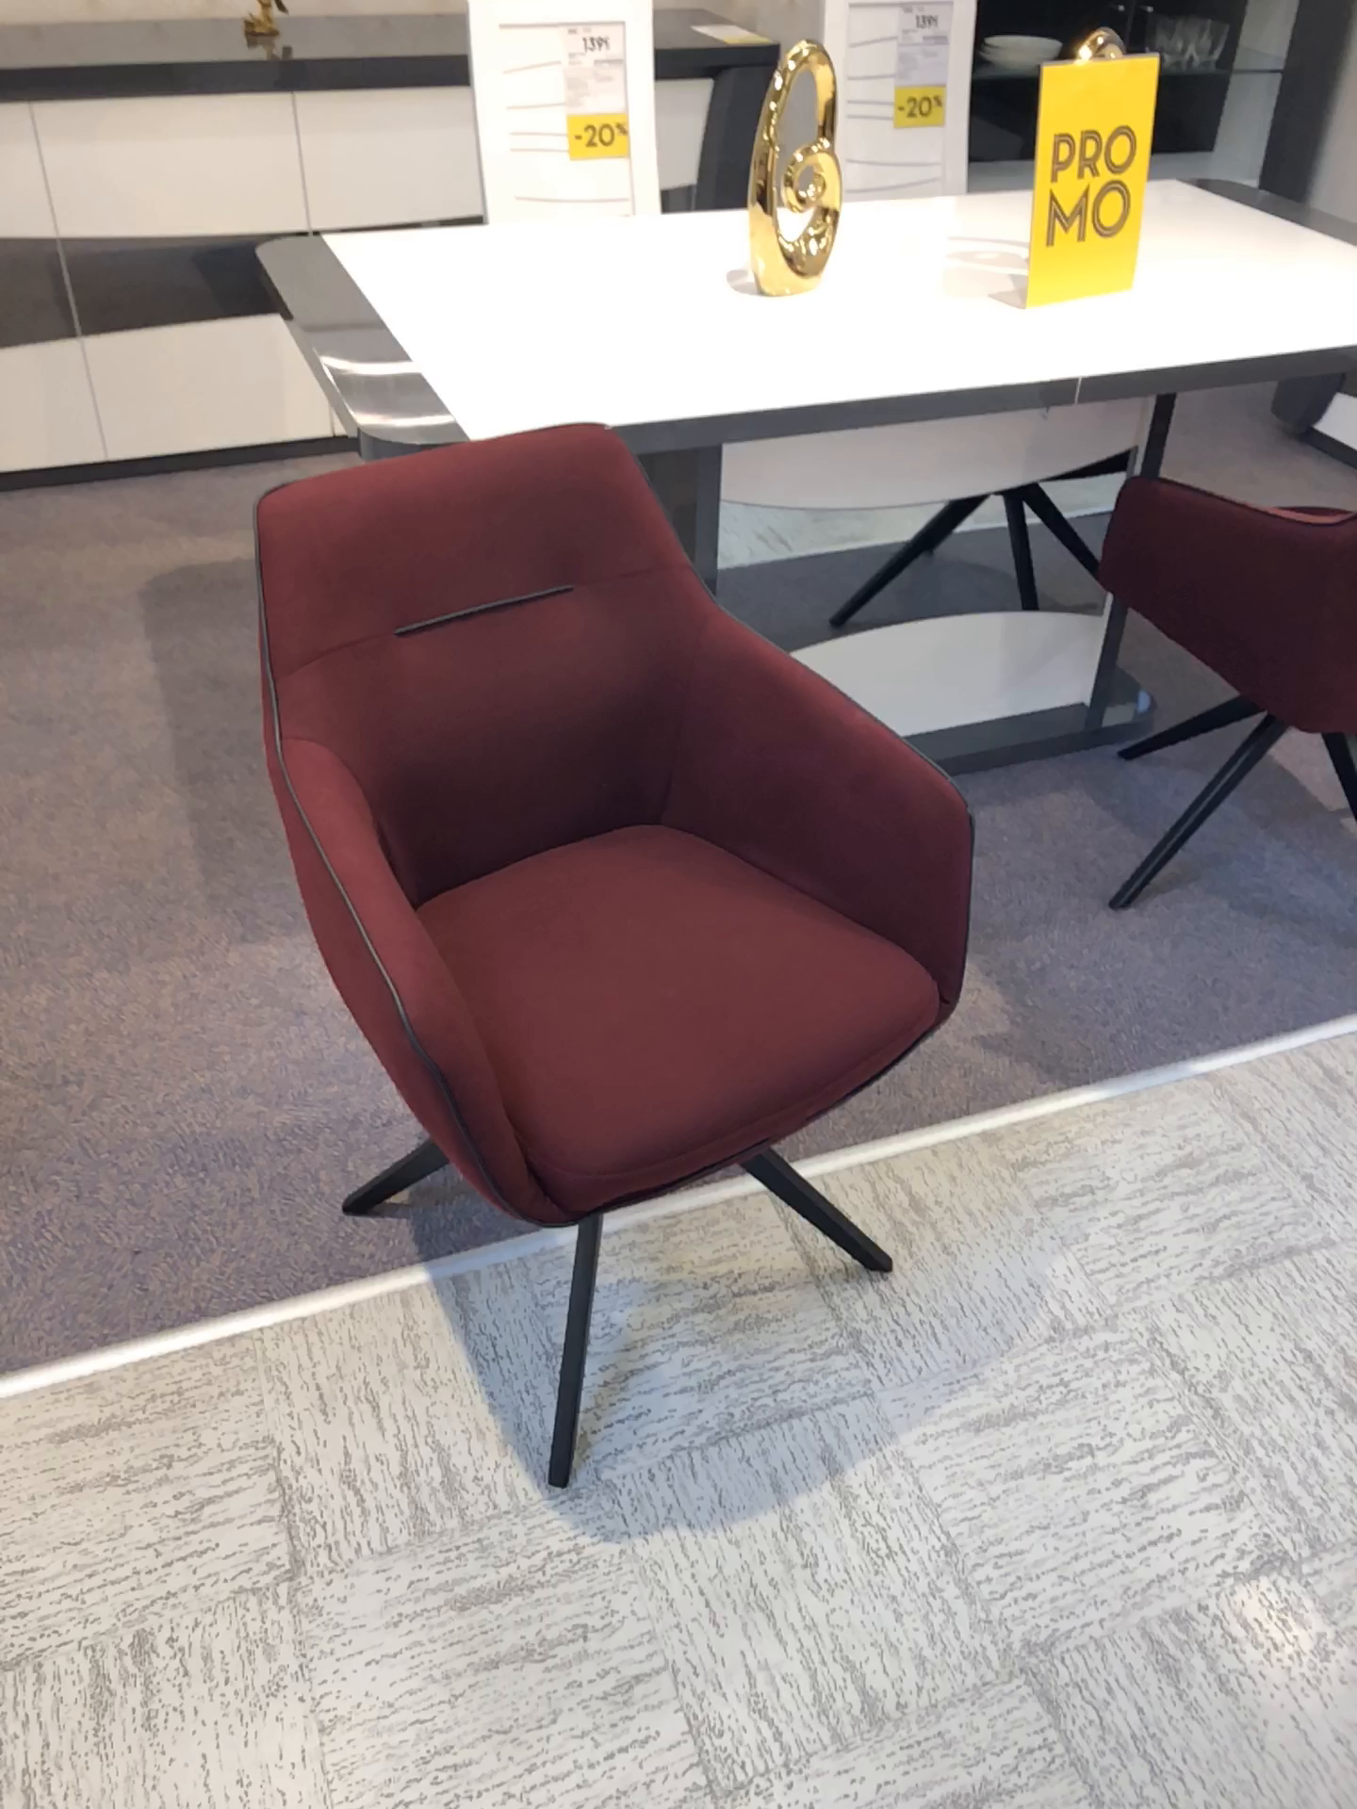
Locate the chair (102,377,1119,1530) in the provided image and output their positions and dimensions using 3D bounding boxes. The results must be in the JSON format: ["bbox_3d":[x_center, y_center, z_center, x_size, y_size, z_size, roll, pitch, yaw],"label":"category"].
[{"bbox_3d":[-0.078,0.006,1.391,0.583,0.735,0.571,-22,43,-29],"label":"chair"}]
